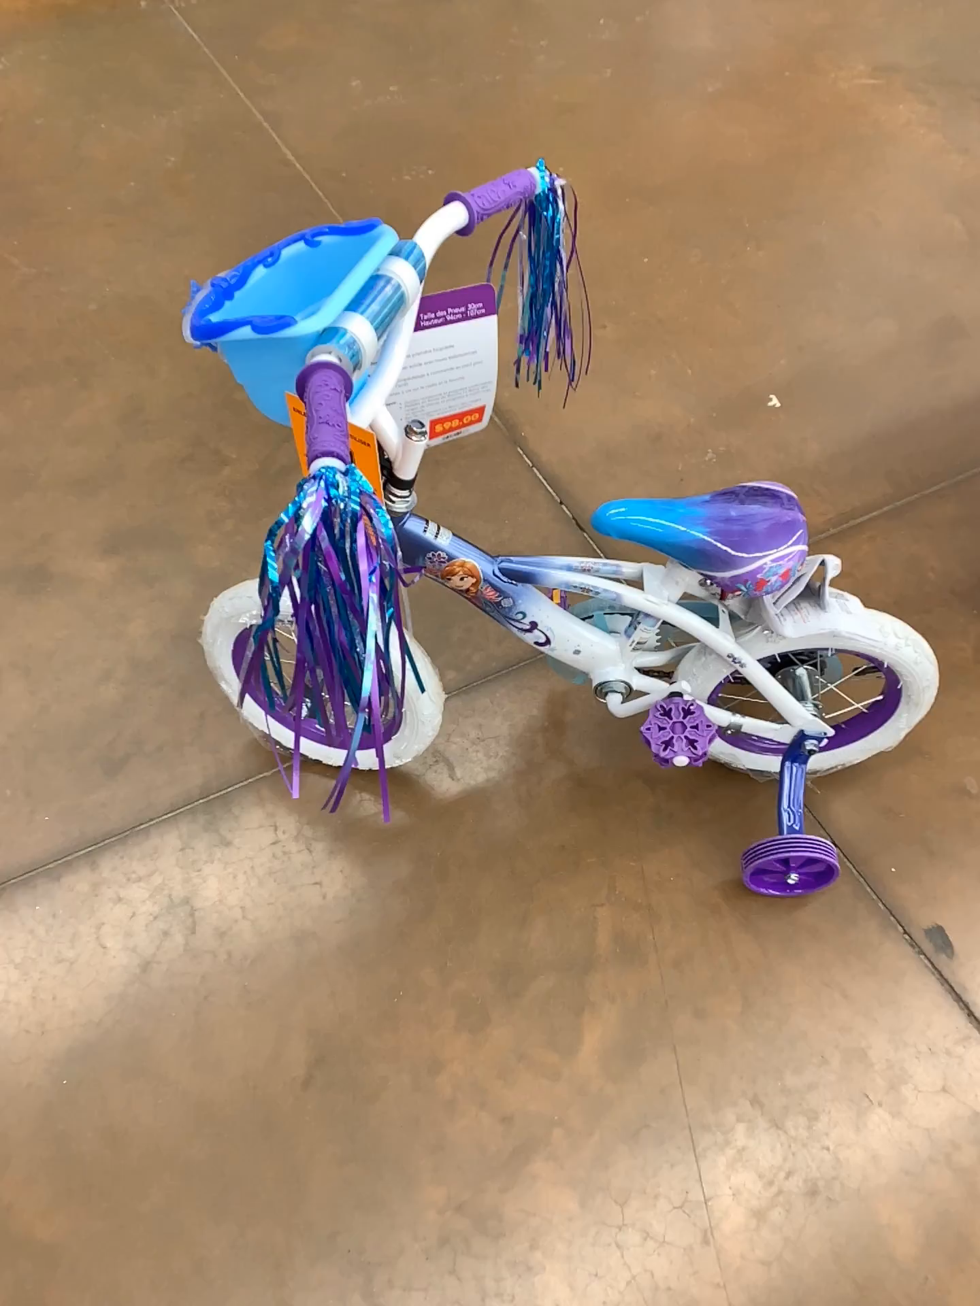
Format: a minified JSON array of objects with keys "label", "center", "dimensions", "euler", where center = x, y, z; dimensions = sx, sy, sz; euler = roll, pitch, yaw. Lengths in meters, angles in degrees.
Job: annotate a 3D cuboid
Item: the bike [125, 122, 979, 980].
[{"label":"bike","center":[0.151,-0.054,0.947],"dimensions":[0.651,0.643,0.474],"euler":[0,53,0]}]
